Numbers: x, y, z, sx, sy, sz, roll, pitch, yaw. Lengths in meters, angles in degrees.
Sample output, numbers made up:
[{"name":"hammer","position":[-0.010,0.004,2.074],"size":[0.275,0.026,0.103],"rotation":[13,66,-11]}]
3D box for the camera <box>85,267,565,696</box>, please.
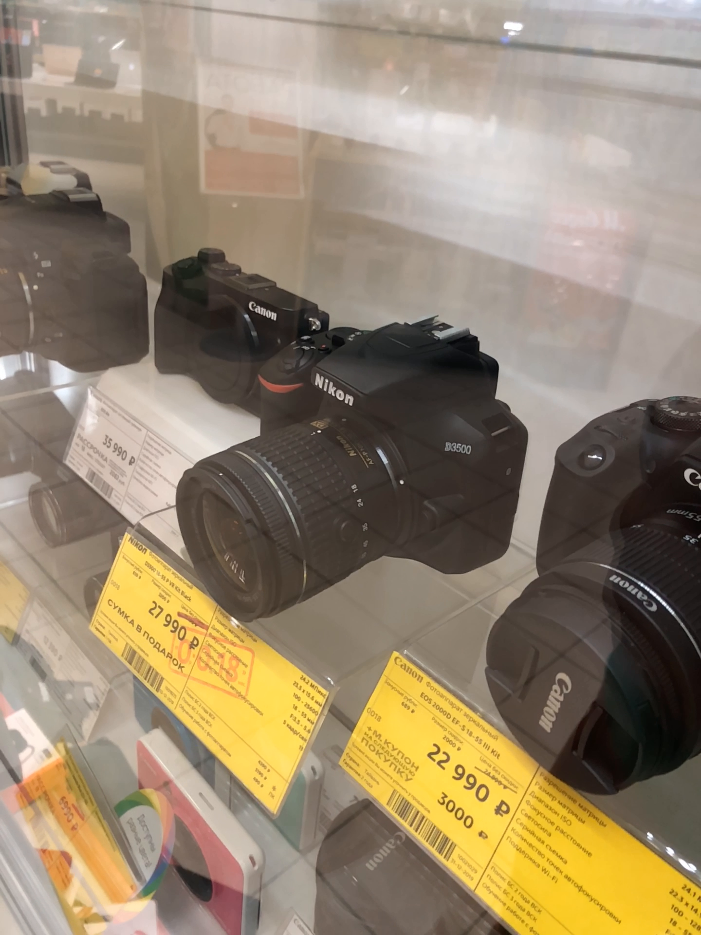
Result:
[{"name":"camera","position":[-0.014,-0.010,0.306],"size":[0.120,0.092,0.130],"rotation":[-20,38,-39]}]
